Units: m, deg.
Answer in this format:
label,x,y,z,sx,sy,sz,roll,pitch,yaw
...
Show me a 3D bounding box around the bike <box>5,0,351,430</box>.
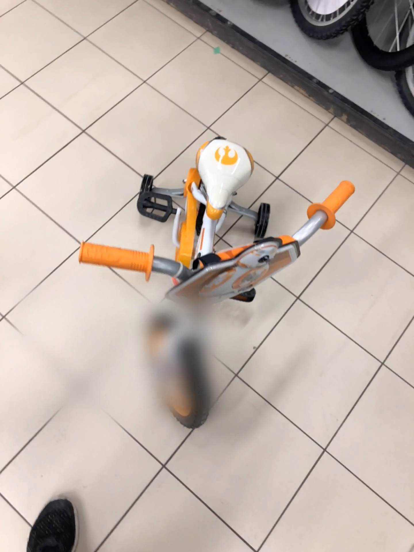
label,x,y,z,sx,sy,sz,roll,pitch,yaw
bike,-0.019,-0.103,1.056,0.435,0.716,0.816,4,69,-3
